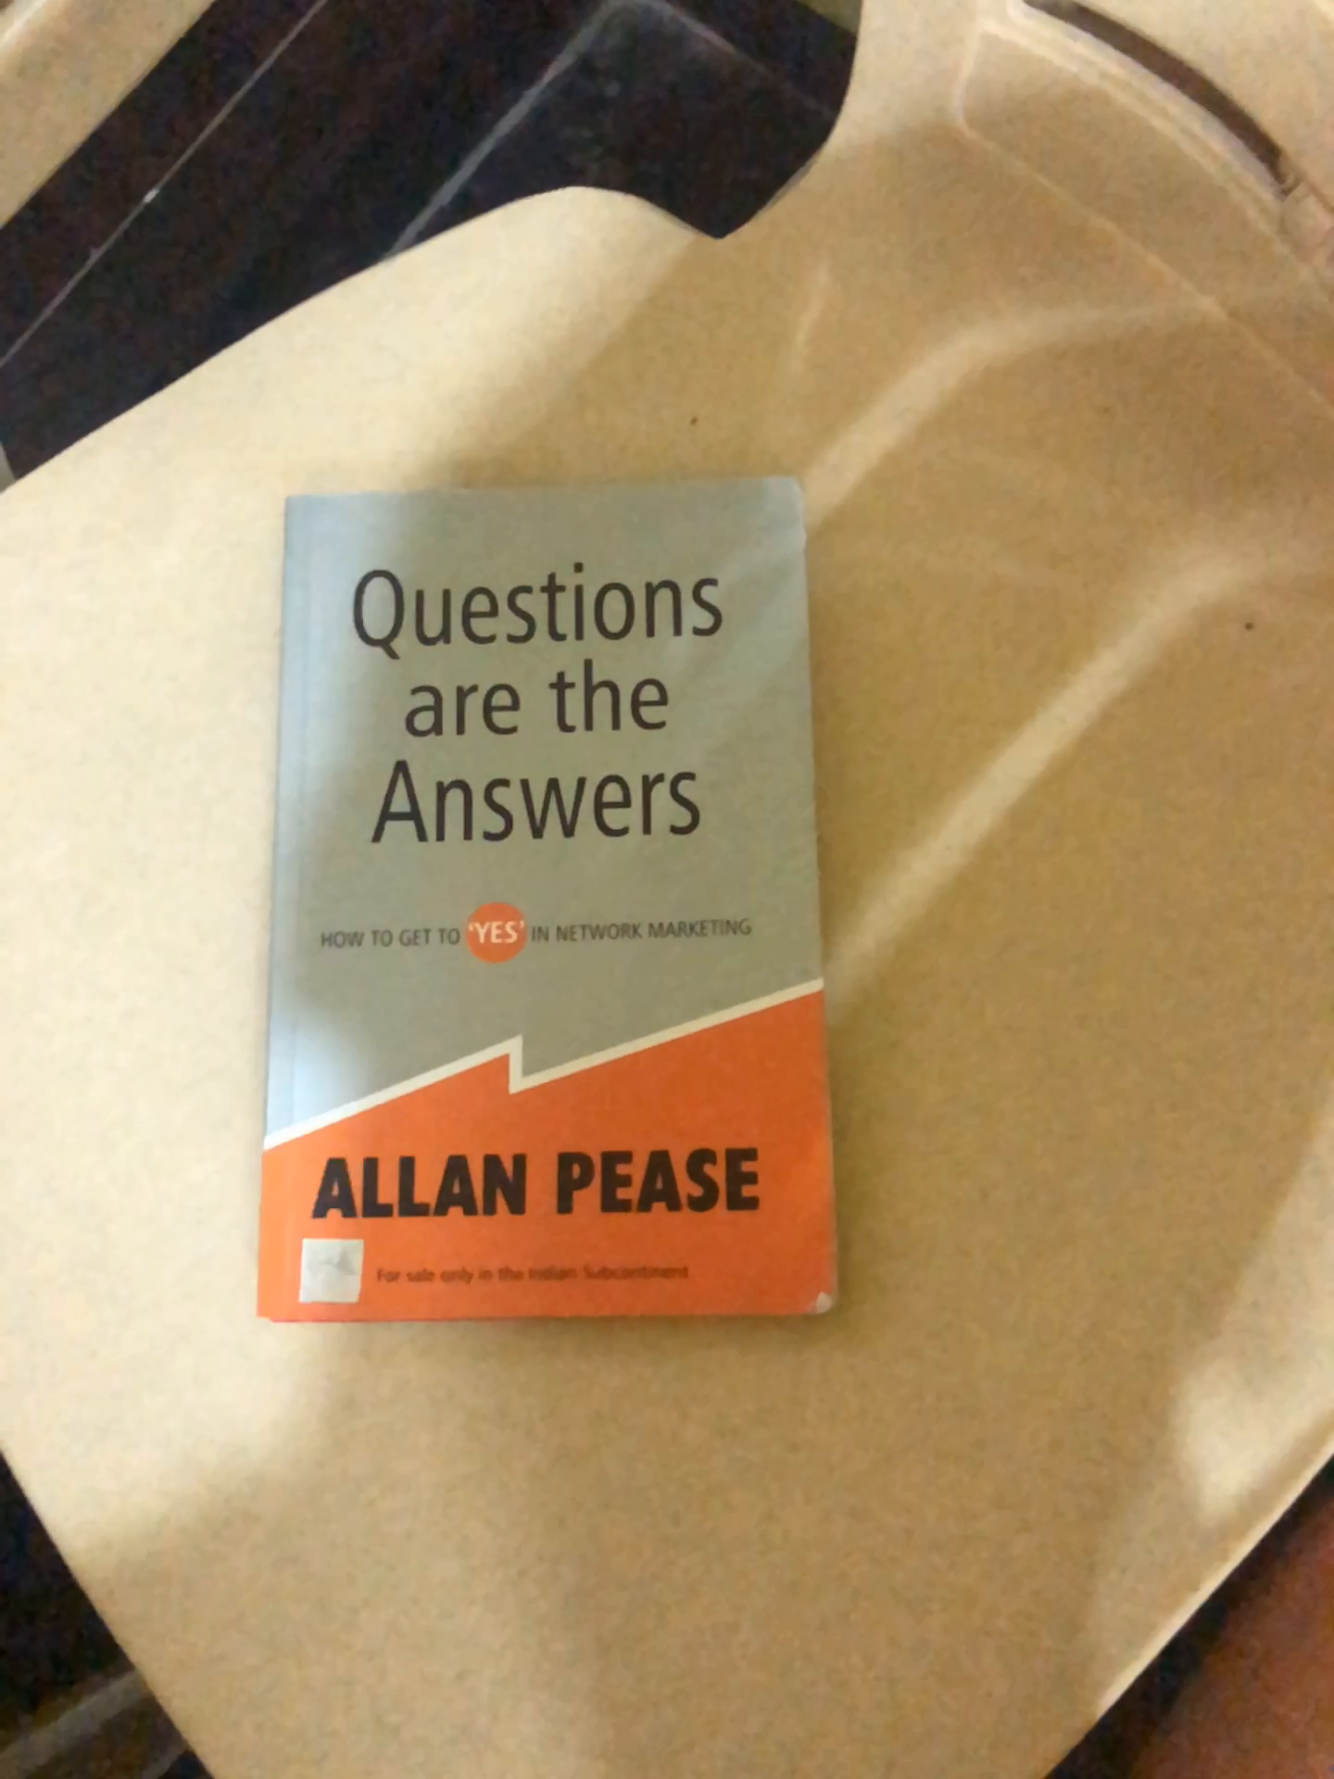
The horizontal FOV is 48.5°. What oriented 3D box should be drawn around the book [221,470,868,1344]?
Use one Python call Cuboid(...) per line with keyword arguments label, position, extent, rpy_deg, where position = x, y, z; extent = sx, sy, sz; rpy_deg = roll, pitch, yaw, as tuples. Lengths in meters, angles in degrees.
Cuboid(label="book", position=(-0.031, 0.002, 0.370), extent=(0.150, 0.020, 0.210), rpy_deg=(-2, 78, 5))
